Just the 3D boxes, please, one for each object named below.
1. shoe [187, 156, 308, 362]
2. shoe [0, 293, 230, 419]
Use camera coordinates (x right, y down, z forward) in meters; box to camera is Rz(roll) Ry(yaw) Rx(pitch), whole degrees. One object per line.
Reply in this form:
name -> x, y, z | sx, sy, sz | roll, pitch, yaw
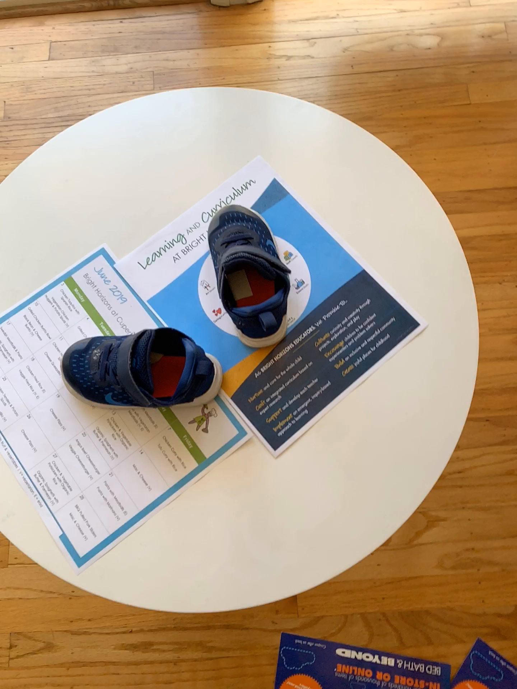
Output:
shoe -> -0.010, -0.084, 0.556 | 0.080, 0.110, 0.170 | -13, 74, -1
shoe -> -0.120, 0.015, 0.488 | 0.170, 0.110, 0.080 | 3, 74, 4
